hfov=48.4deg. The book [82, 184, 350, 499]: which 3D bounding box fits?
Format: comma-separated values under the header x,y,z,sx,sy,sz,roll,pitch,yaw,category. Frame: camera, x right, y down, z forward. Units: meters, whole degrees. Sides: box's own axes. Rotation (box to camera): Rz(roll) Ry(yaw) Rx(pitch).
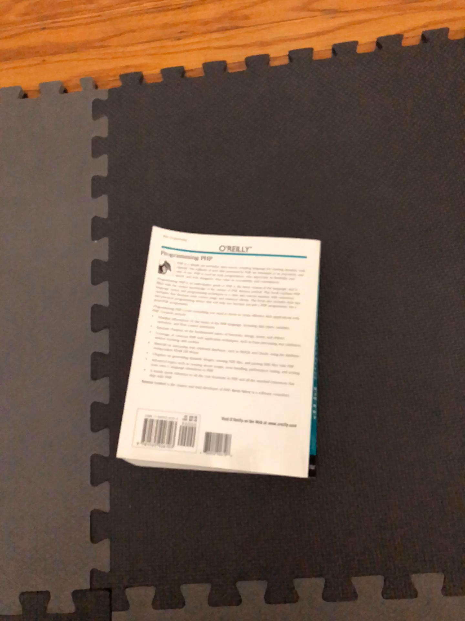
x,y,z,sx,sy,sz,roll,pitch,yaw,category
-0.008,0.019,0.512,0.230,0.040,0.290,4,75,8,book
